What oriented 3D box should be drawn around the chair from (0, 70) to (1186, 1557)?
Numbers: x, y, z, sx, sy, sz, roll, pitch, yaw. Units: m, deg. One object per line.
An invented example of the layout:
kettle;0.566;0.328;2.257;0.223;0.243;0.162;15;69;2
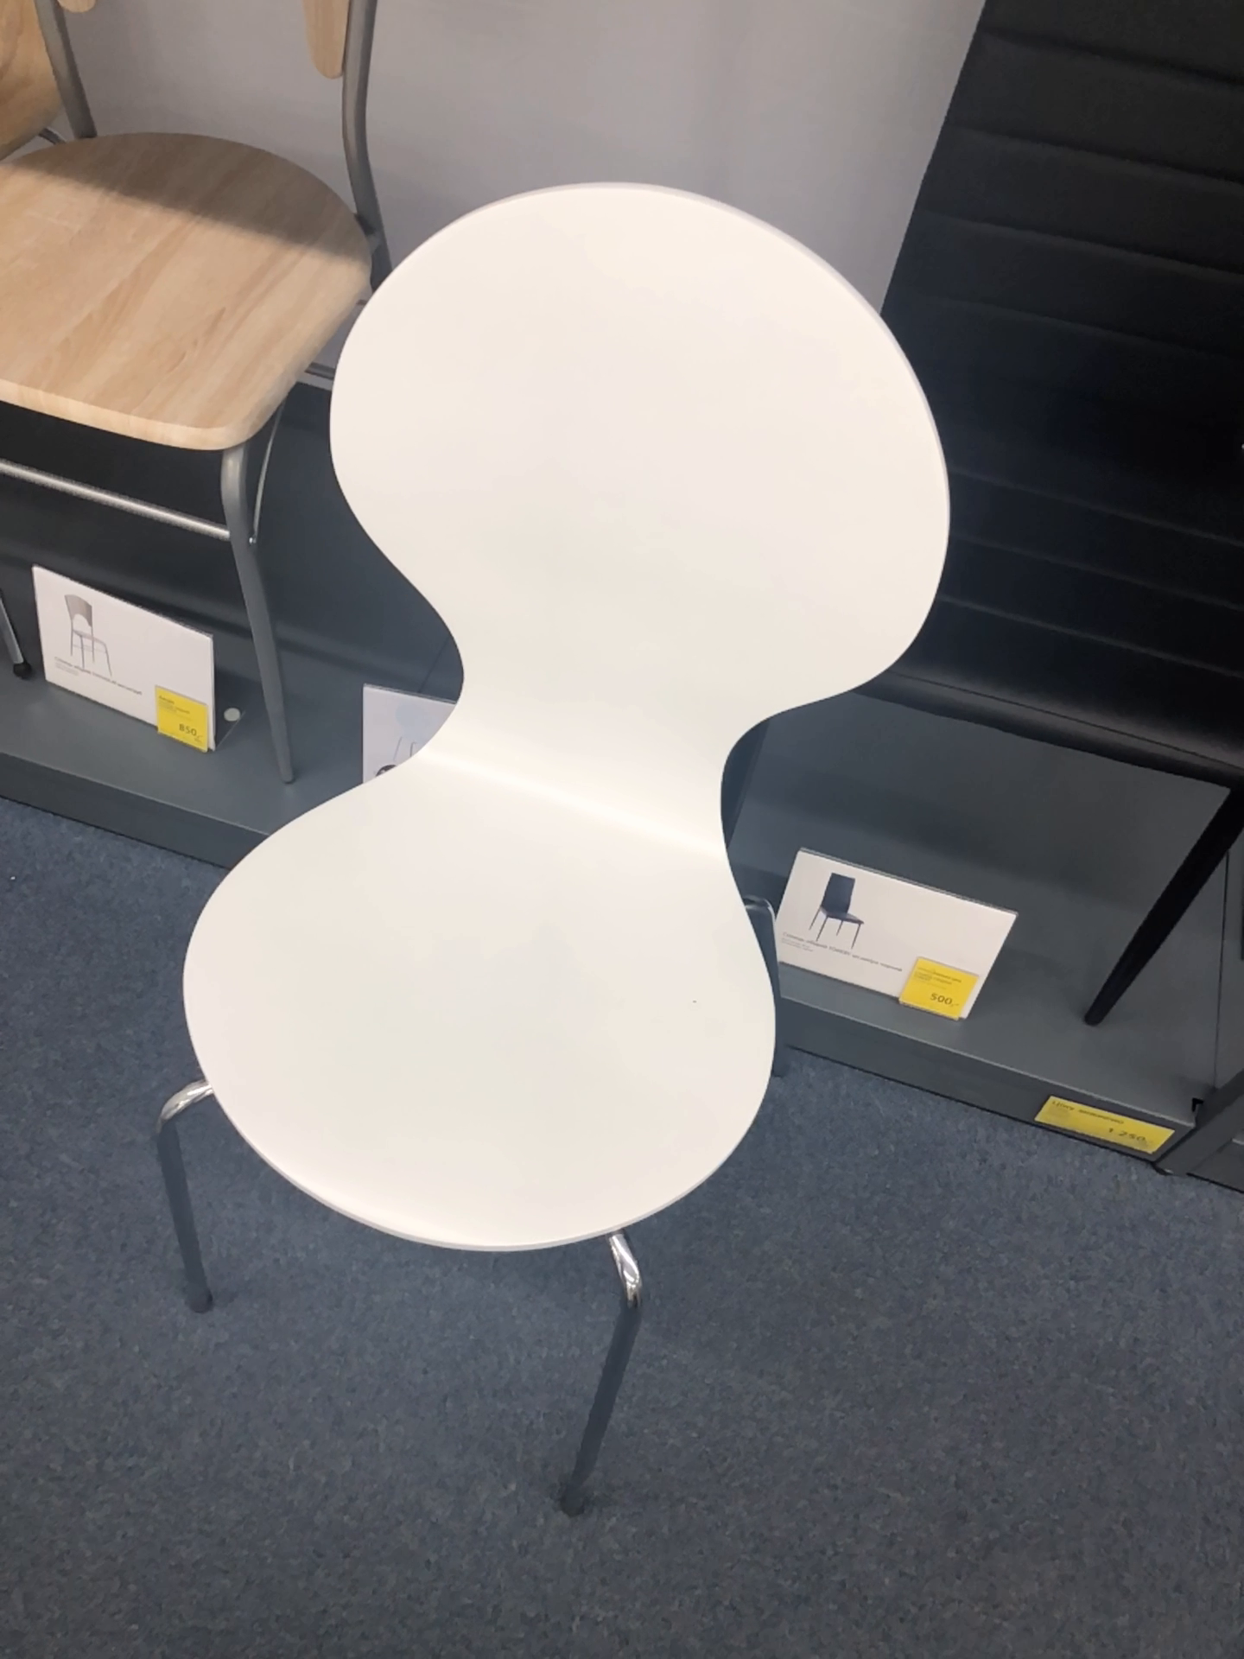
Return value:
chair;-0.074;0.056;1.045;0.560;0.818;0.642;23;57;8
